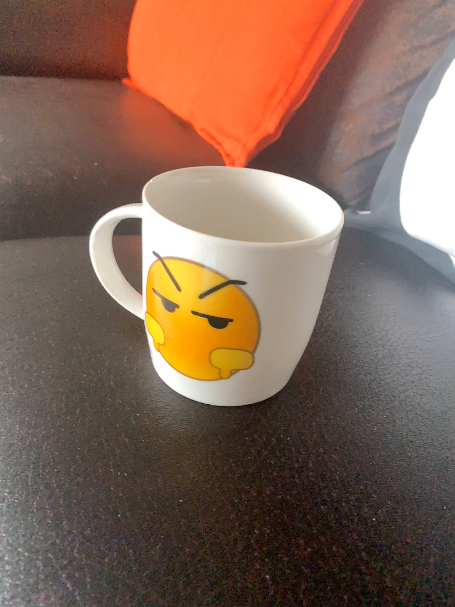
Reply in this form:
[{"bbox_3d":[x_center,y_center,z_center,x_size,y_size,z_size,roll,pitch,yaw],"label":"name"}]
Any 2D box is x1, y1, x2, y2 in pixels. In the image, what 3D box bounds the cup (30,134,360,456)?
[{"bbox_3d":[-0.015,-0.012,0.233,0.120,0.099,0.081,20,35,17],"label":"cup"}]
